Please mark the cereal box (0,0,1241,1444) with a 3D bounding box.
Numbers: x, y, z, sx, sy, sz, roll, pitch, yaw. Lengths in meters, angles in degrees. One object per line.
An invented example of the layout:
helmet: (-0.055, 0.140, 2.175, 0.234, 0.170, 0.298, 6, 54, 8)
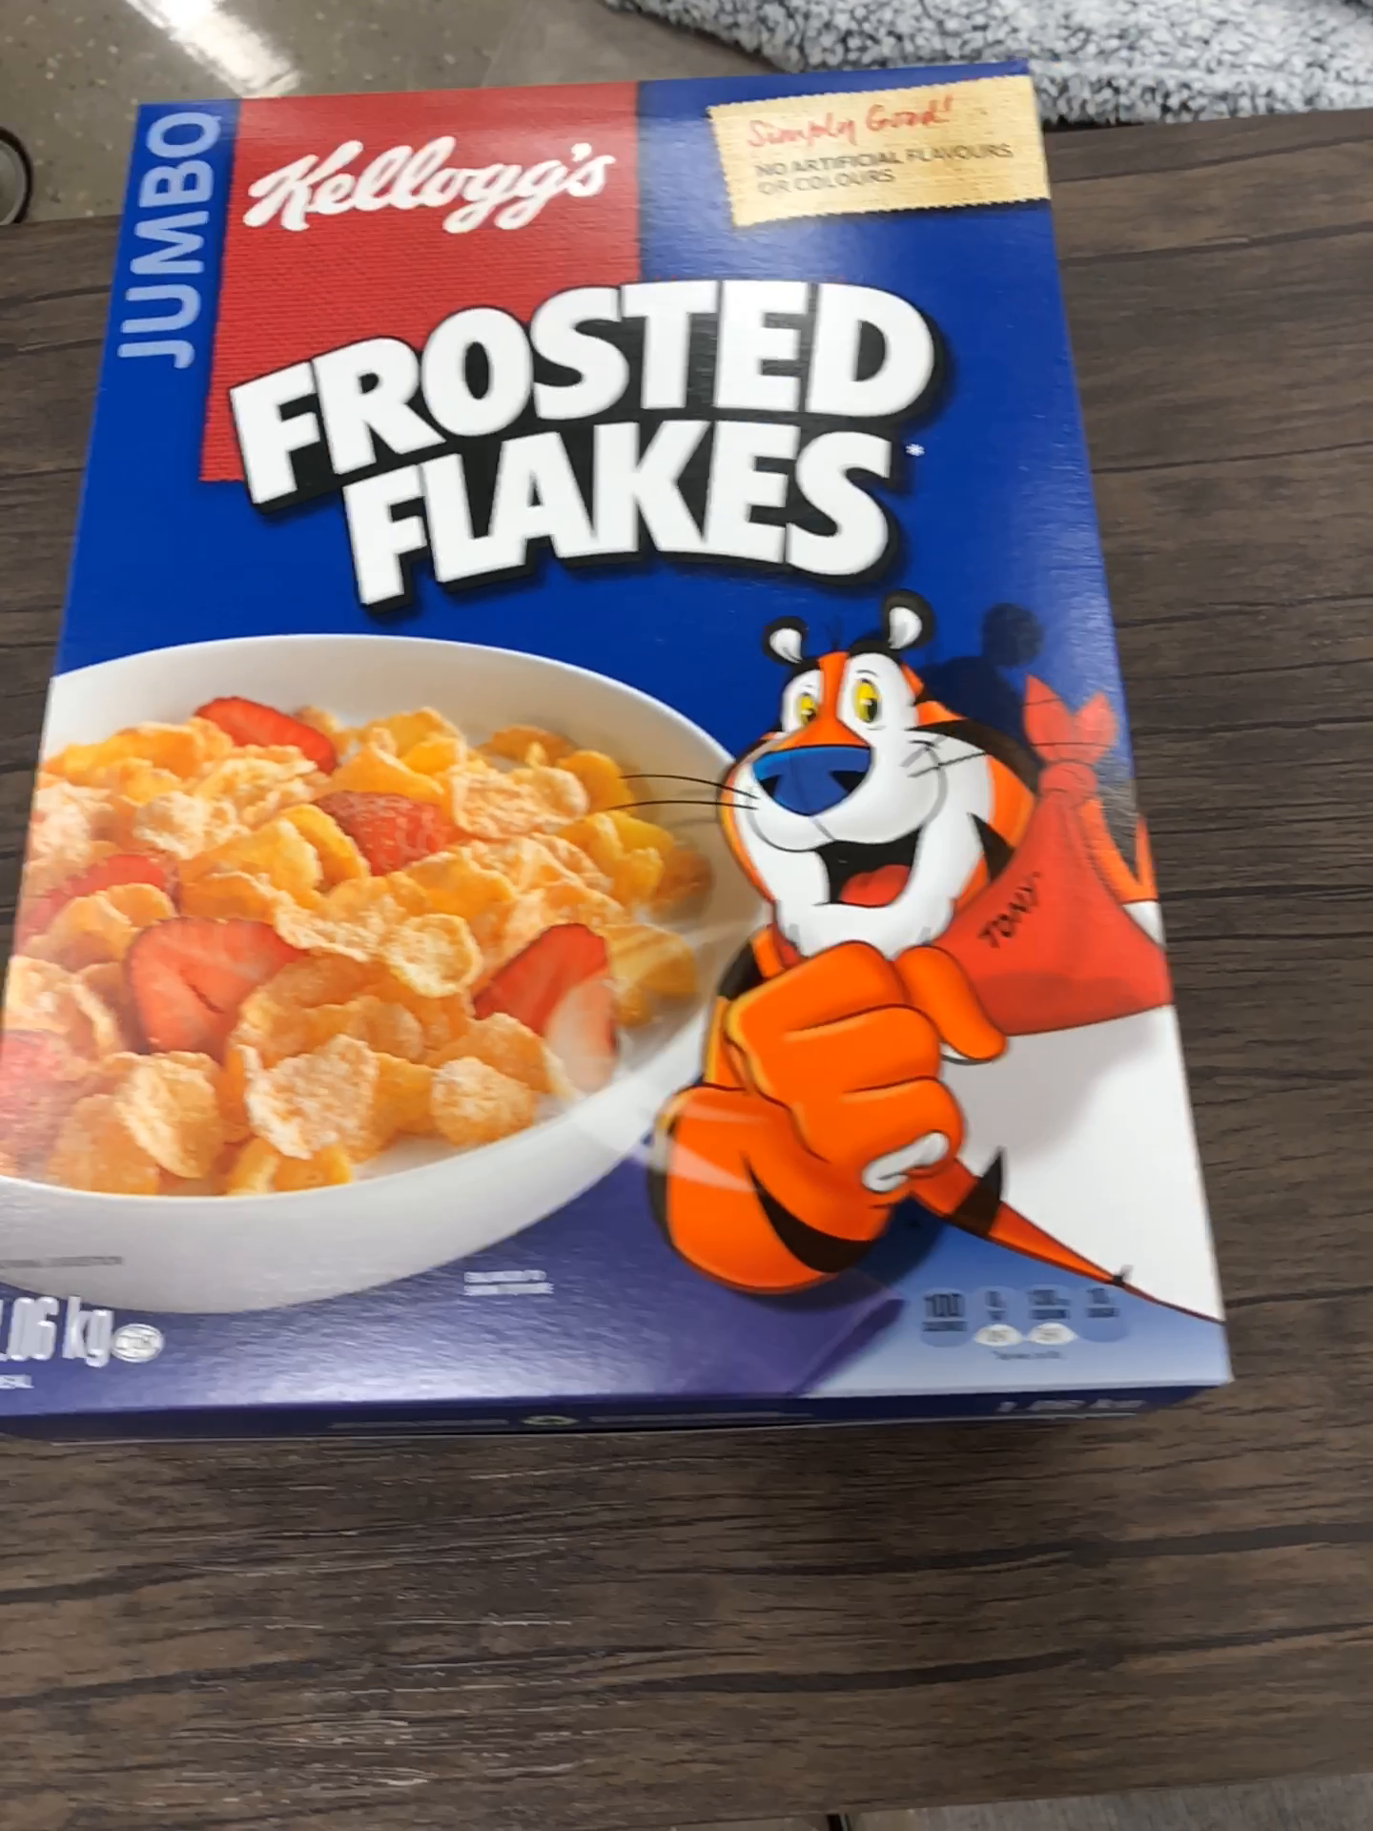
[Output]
cereal box: (-0.027, -0.065, 0.390, 0.250, 0.100, 0.370, -1, 67, 2)
